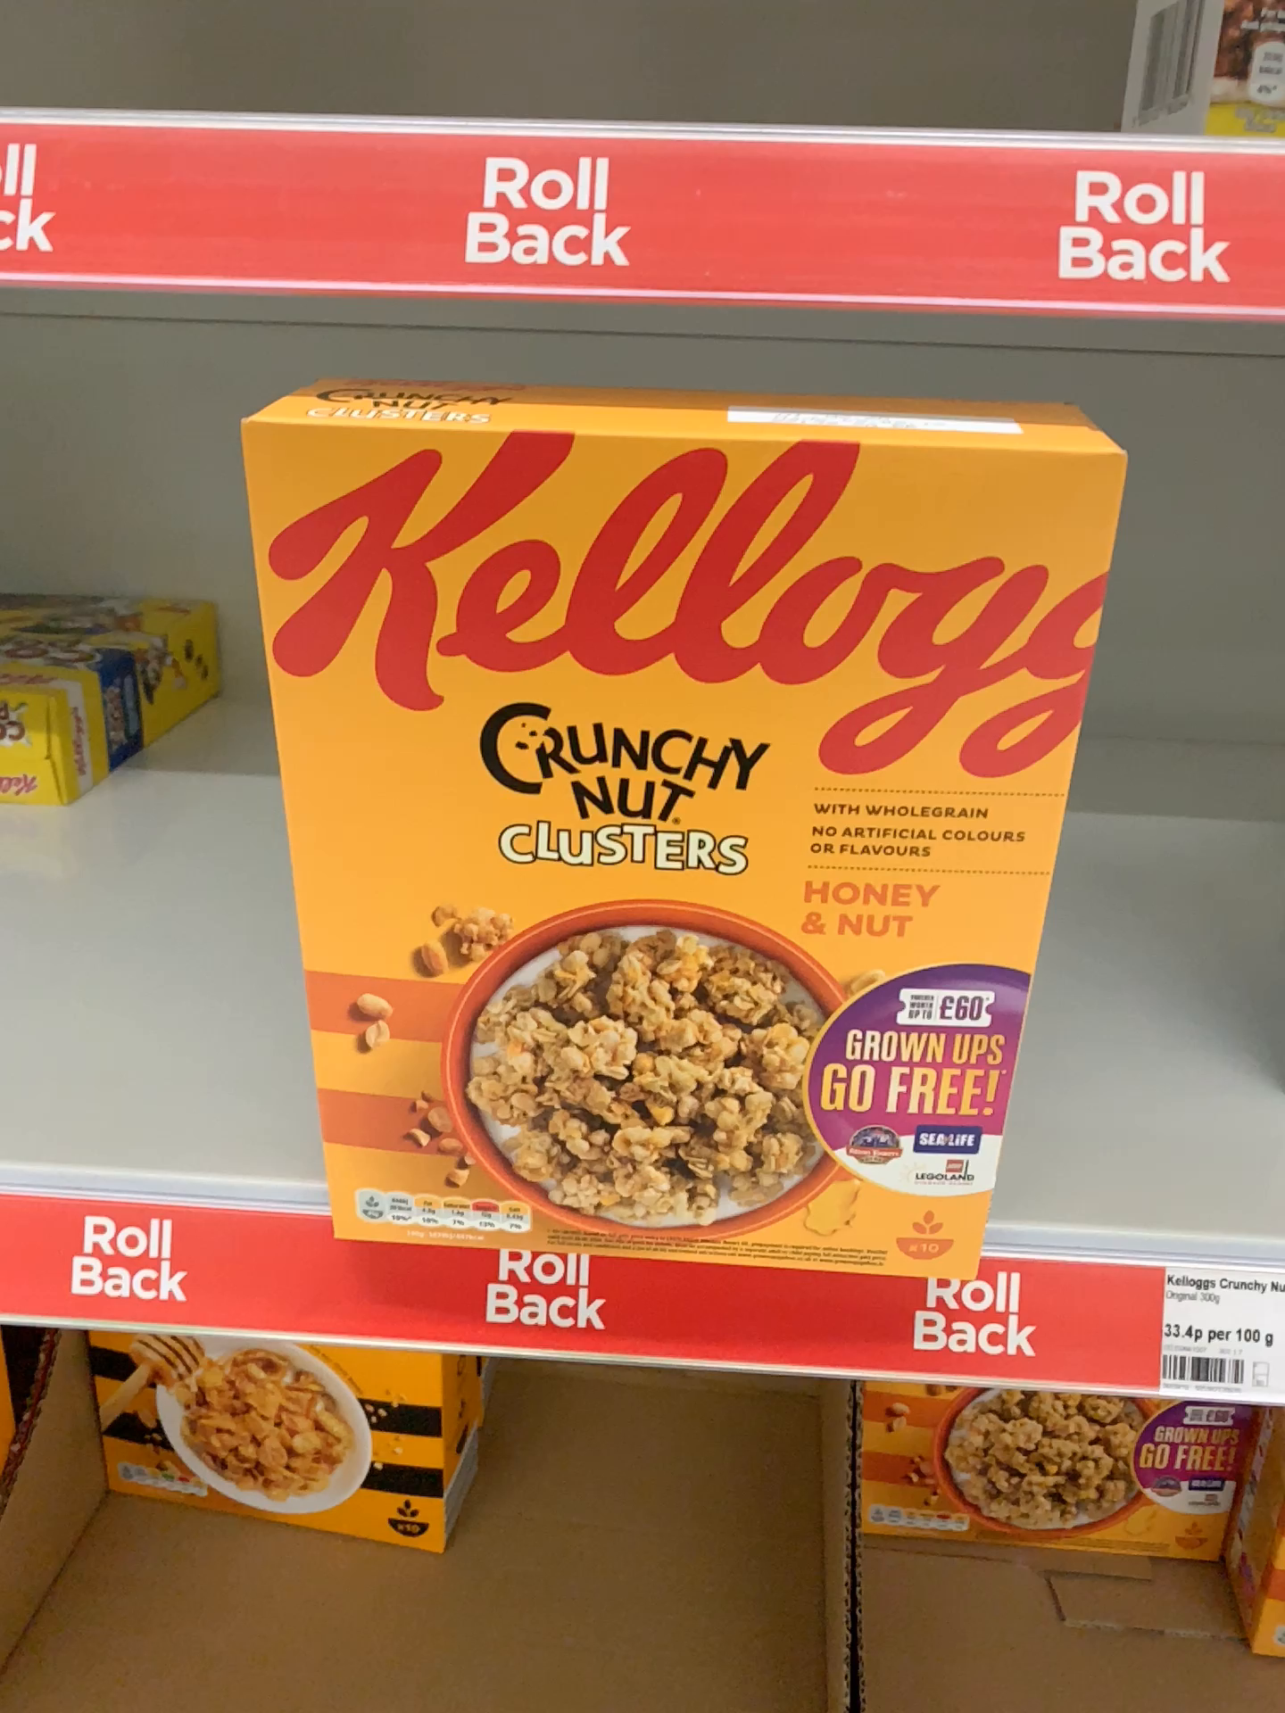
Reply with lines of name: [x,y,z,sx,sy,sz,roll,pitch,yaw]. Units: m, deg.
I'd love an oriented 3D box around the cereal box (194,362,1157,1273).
cereal box: [0.004,-0.003,0.353,0.200,0.228,0.061,3,27,2]
